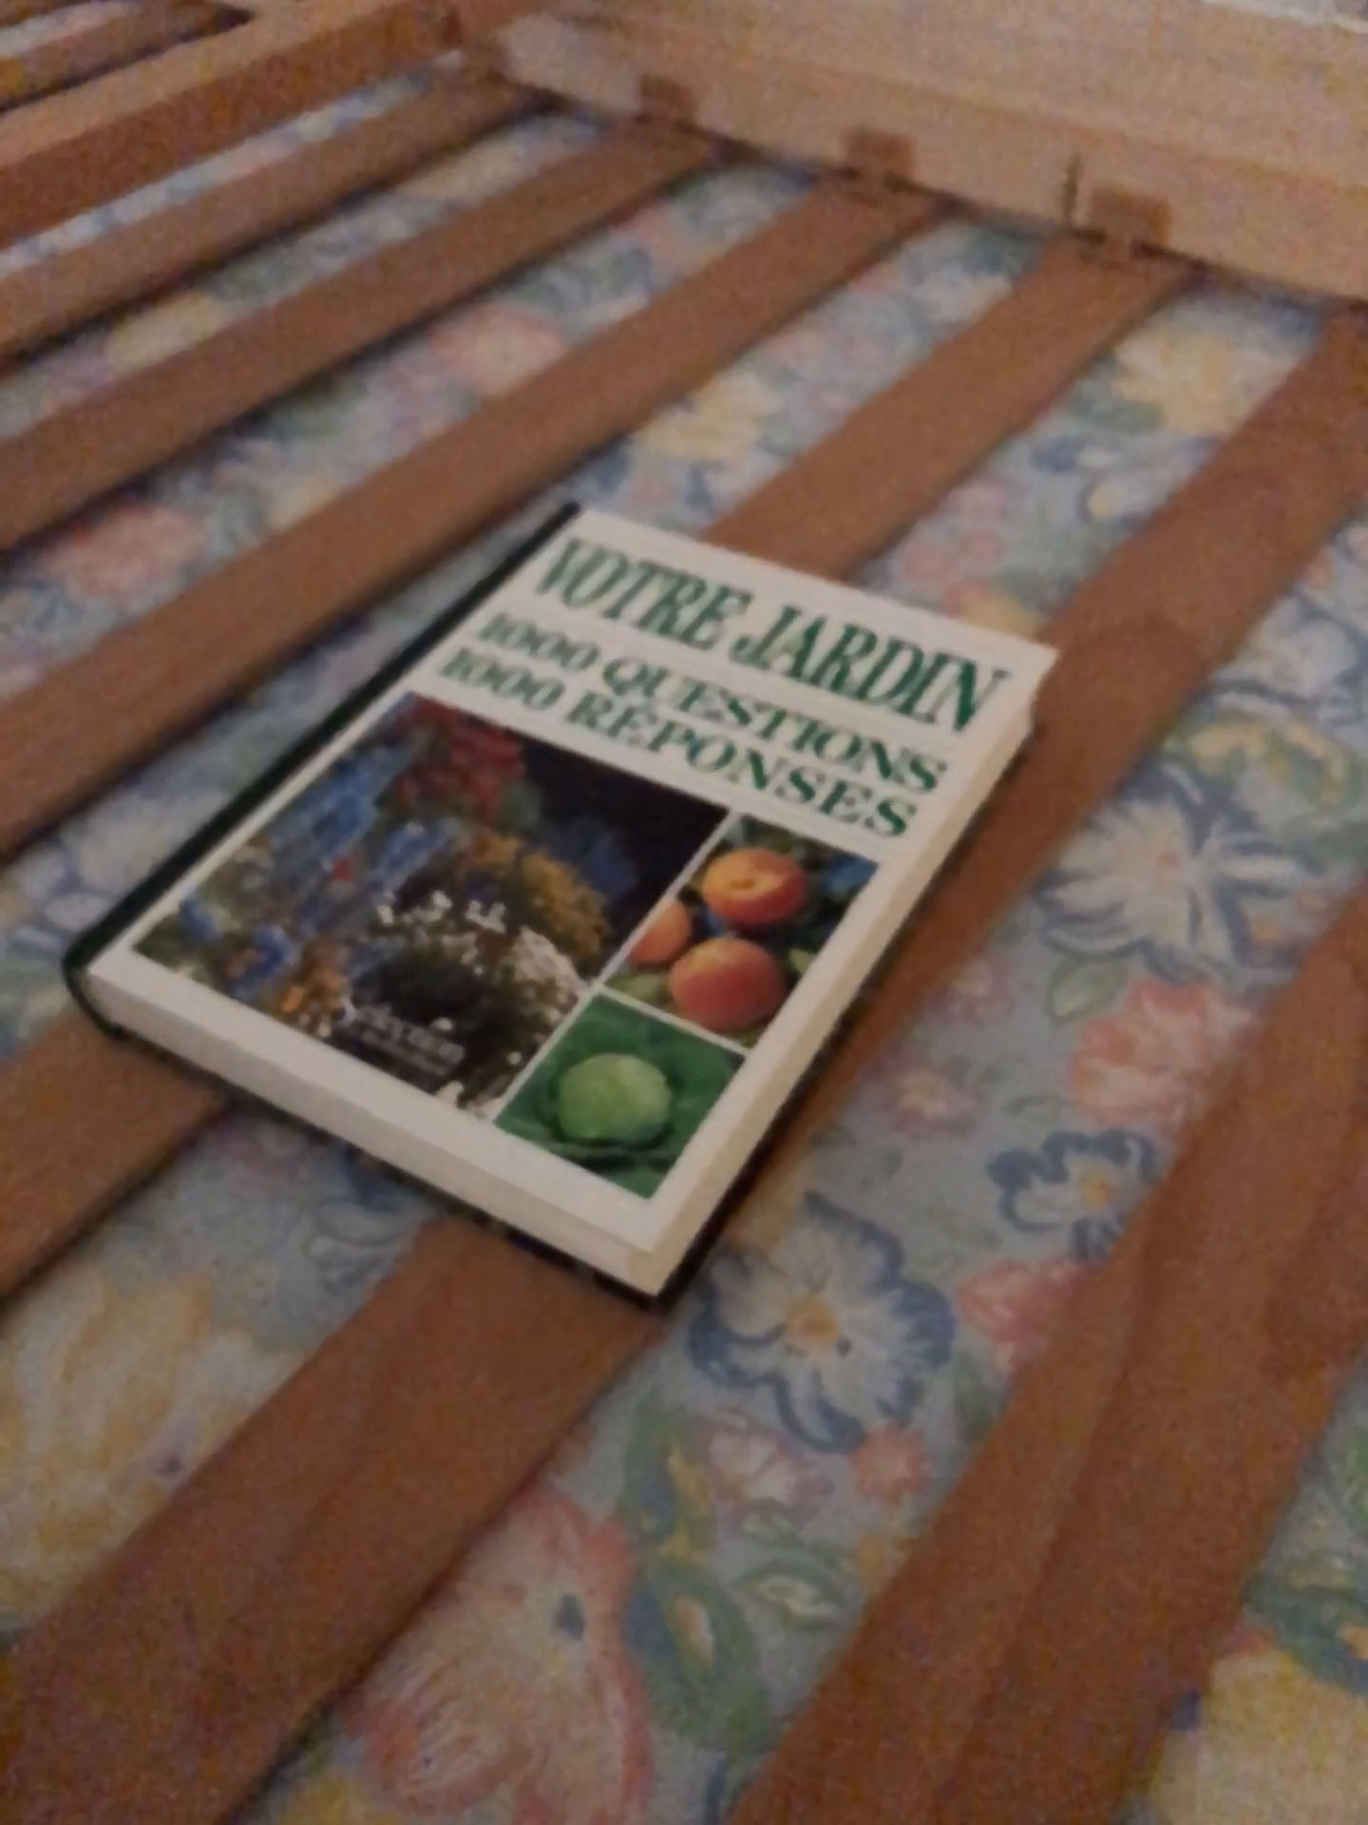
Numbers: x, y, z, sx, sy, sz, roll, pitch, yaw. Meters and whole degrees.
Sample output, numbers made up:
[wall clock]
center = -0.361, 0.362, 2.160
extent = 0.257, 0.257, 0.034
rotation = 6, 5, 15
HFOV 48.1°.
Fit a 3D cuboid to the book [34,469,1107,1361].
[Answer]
[book]
center = -0.022, -0.028, 0.492
extent = 0.220, 0.050, 0.271
rotation = 22, 52, 23
